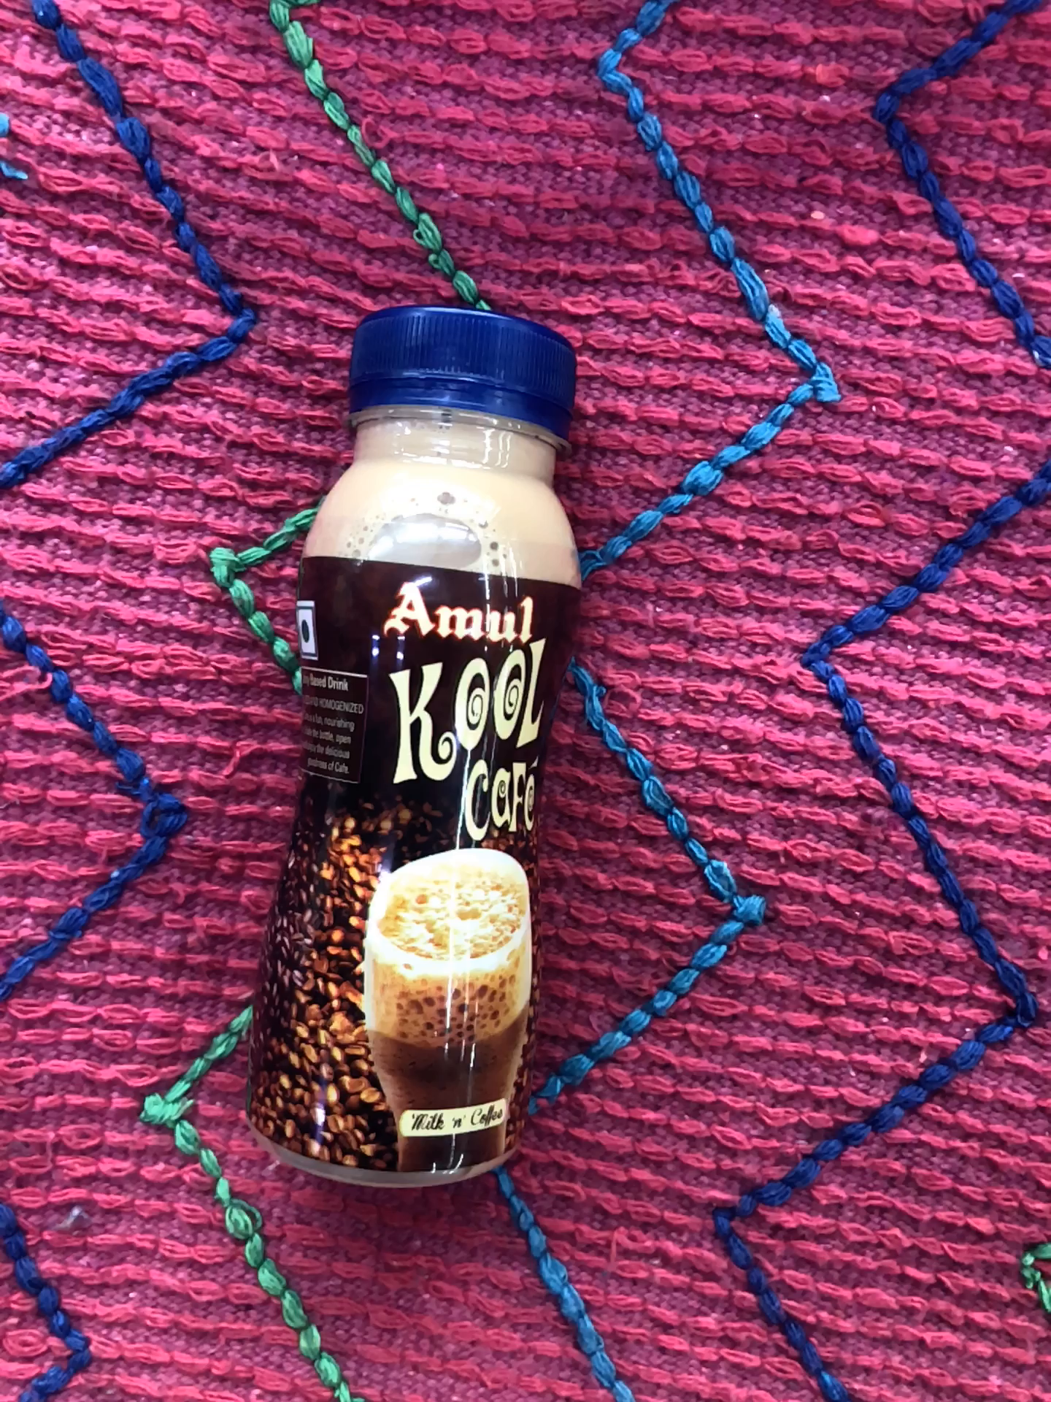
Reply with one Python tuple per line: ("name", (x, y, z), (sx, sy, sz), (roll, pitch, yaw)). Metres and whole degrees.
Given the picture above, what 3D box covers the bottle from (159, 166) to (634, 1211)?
("bottle", (-0.025, -0.002, 0.208), (0.050, 0.060, 0.150), (4, 90, -37))
